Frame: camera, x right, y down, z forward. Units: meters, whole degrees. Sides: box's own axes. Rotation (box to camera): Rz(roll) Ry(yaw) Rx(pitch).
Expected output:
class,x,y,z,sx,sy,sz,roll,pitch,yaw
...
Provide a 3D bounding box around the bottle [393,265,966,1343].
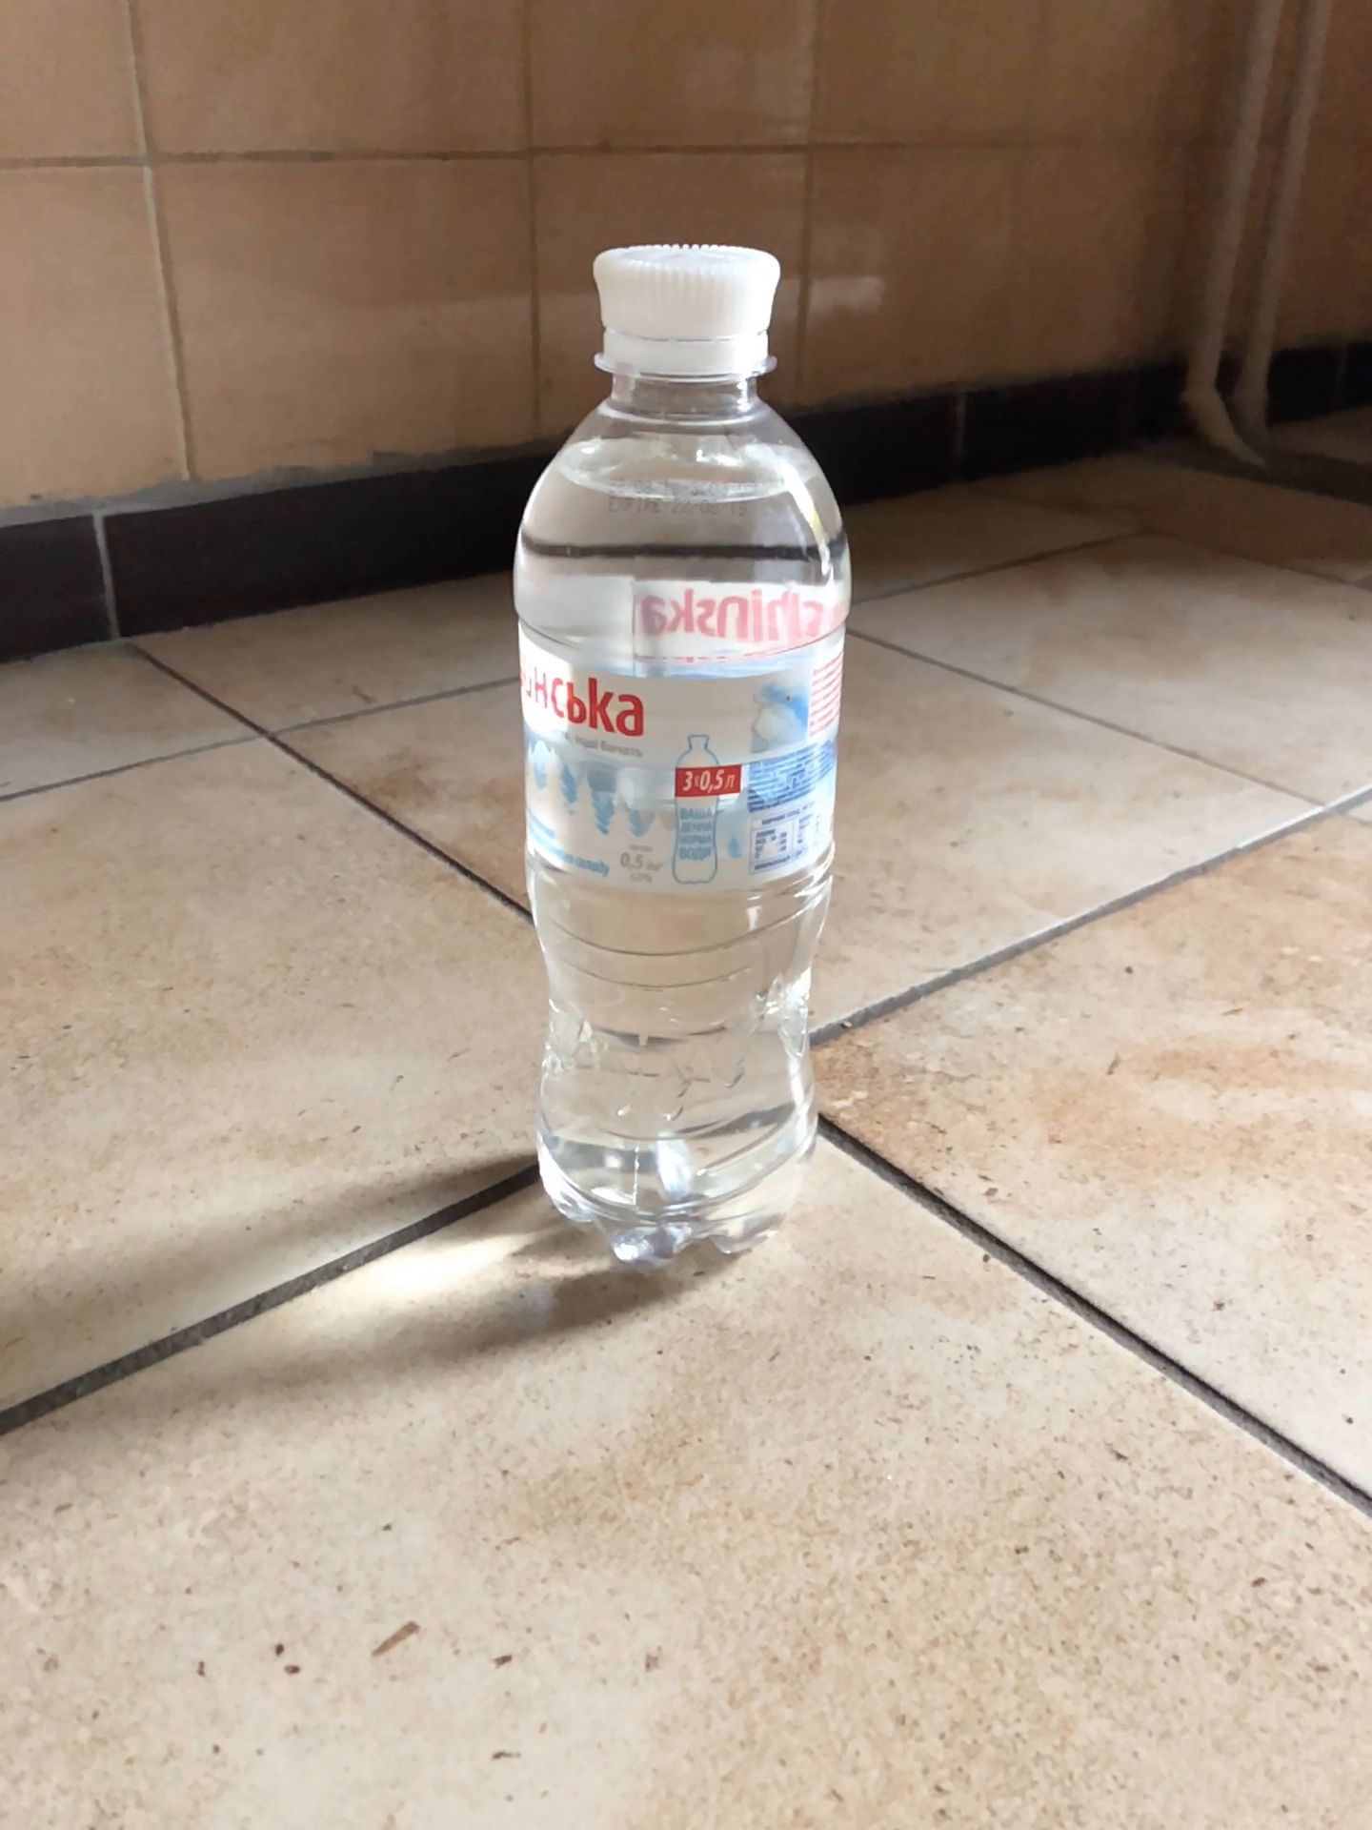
class,x,y,z,sx,sy,sz,roll,pitch,yaw
bottle,-0.007,-0.023,0.315,0.080,0.199,0.080,1,28,0
